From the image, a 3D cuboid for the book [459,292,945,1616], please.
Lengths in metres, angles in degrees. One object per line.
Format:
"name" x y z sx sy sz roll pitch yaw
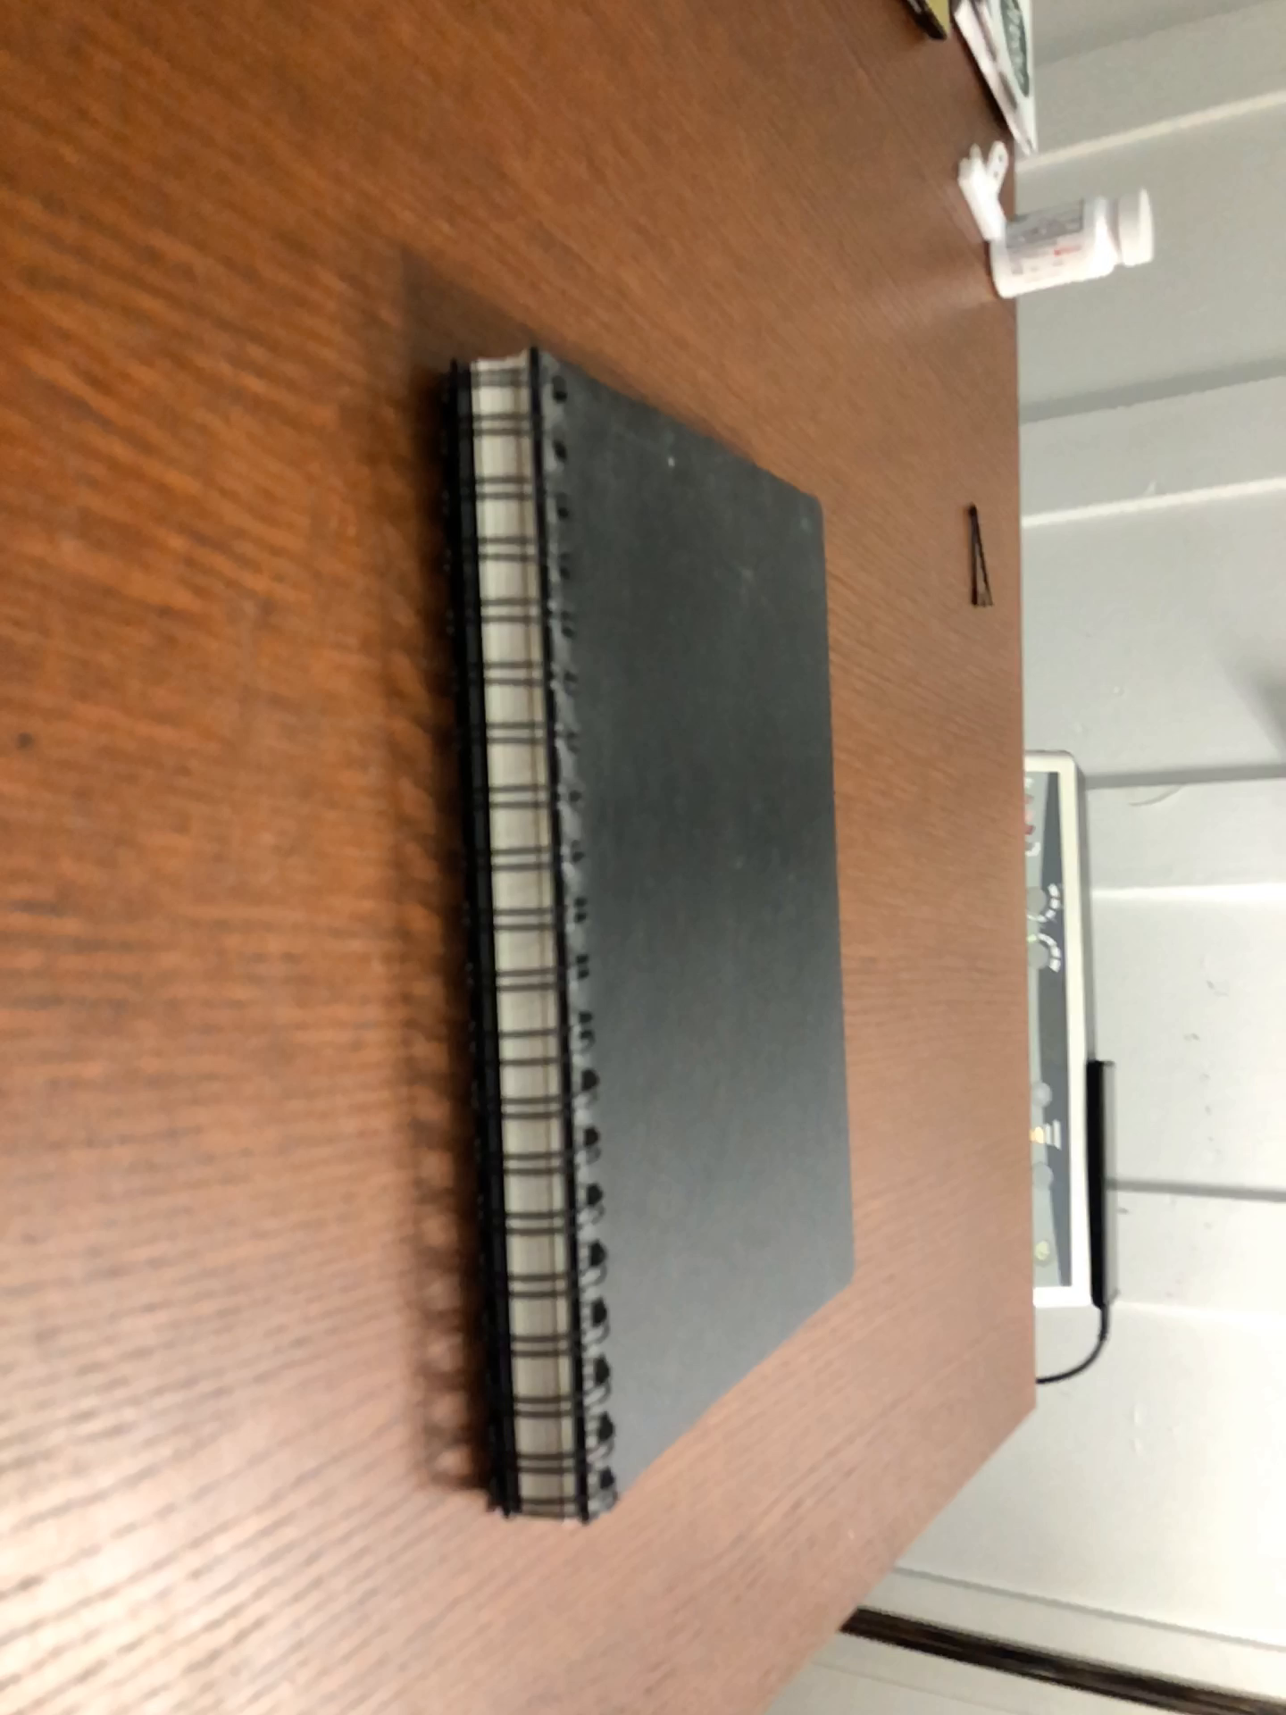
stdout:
"book" 0.030 0.016 0.371 0.201 0.030 0.260 -6 94 -62
